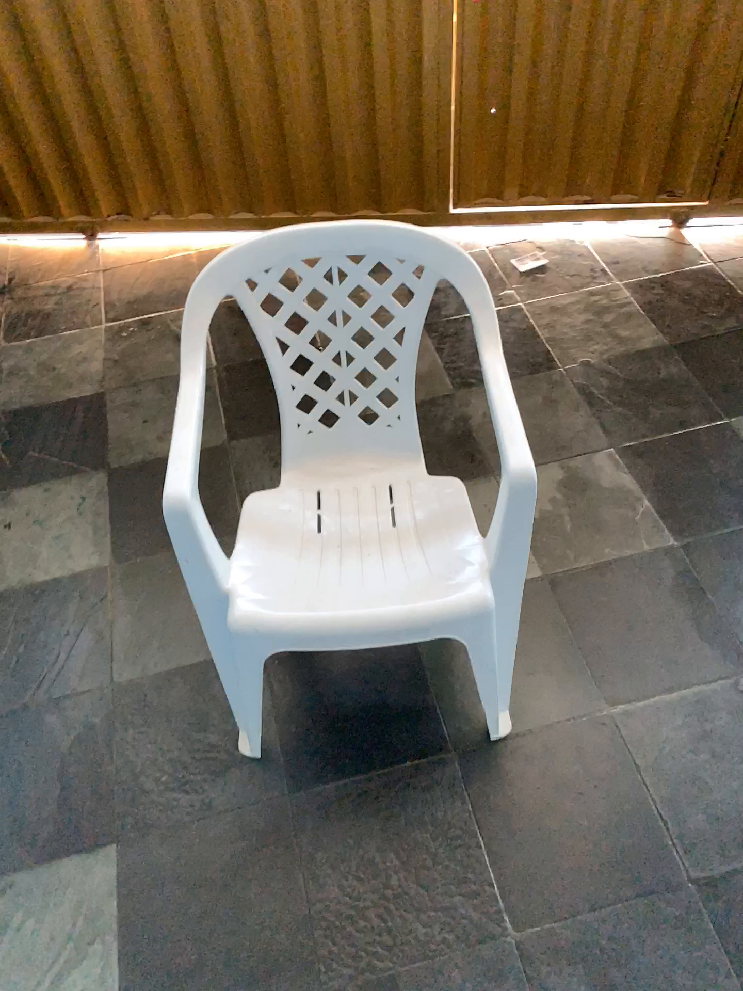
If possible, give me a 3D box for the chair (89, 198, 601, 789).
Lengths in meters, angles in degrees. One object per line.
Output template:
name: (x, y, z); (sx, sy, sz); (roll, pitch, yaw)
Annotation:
chair: (-0.038, 0.022, 1.258); (0.540, 0.716, 0.593); (-7, 49, -2)
